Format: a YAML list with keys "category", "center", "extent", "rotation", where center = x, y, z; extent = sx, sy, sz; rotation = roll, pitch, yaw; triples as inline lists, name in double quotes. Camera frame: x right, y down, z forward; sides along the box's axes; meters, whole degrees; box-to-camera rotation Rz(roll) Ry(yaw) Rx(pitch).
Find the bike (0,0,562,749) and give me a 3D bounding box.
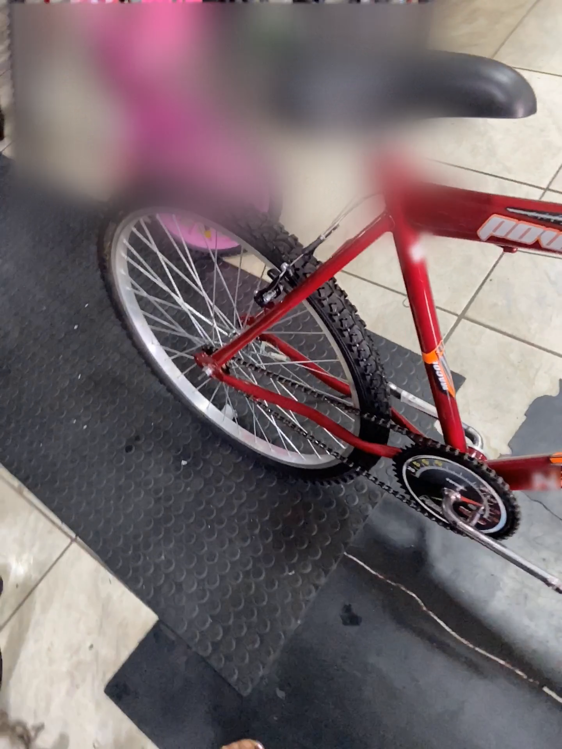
- category: "bike"
  center: [0.281, -0.142, 0.678]
  extent: [1.584, 1.030, 0.567]
  rotation: [16, 64, 27]
